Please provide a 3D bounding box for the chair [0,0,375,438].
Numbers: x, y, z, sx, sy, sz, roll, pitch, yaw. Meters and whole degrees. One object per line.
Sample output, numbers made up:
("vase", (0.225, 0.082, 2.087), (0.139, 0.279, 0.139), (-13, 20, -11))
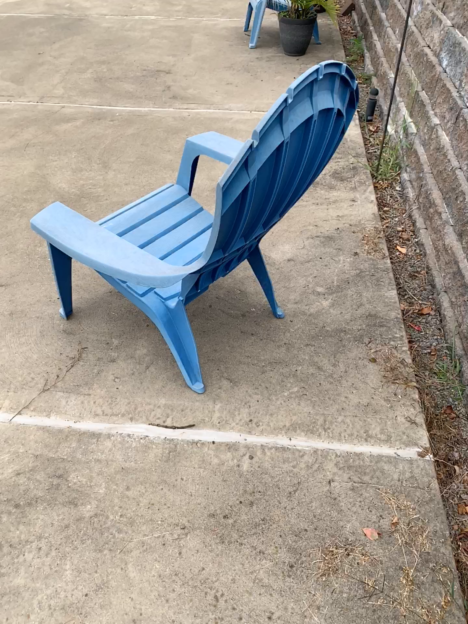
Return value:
("chair", (-0.198, -0.337, 1.347), (0.763, 0.885, 0.701), (30, 52, 29))
